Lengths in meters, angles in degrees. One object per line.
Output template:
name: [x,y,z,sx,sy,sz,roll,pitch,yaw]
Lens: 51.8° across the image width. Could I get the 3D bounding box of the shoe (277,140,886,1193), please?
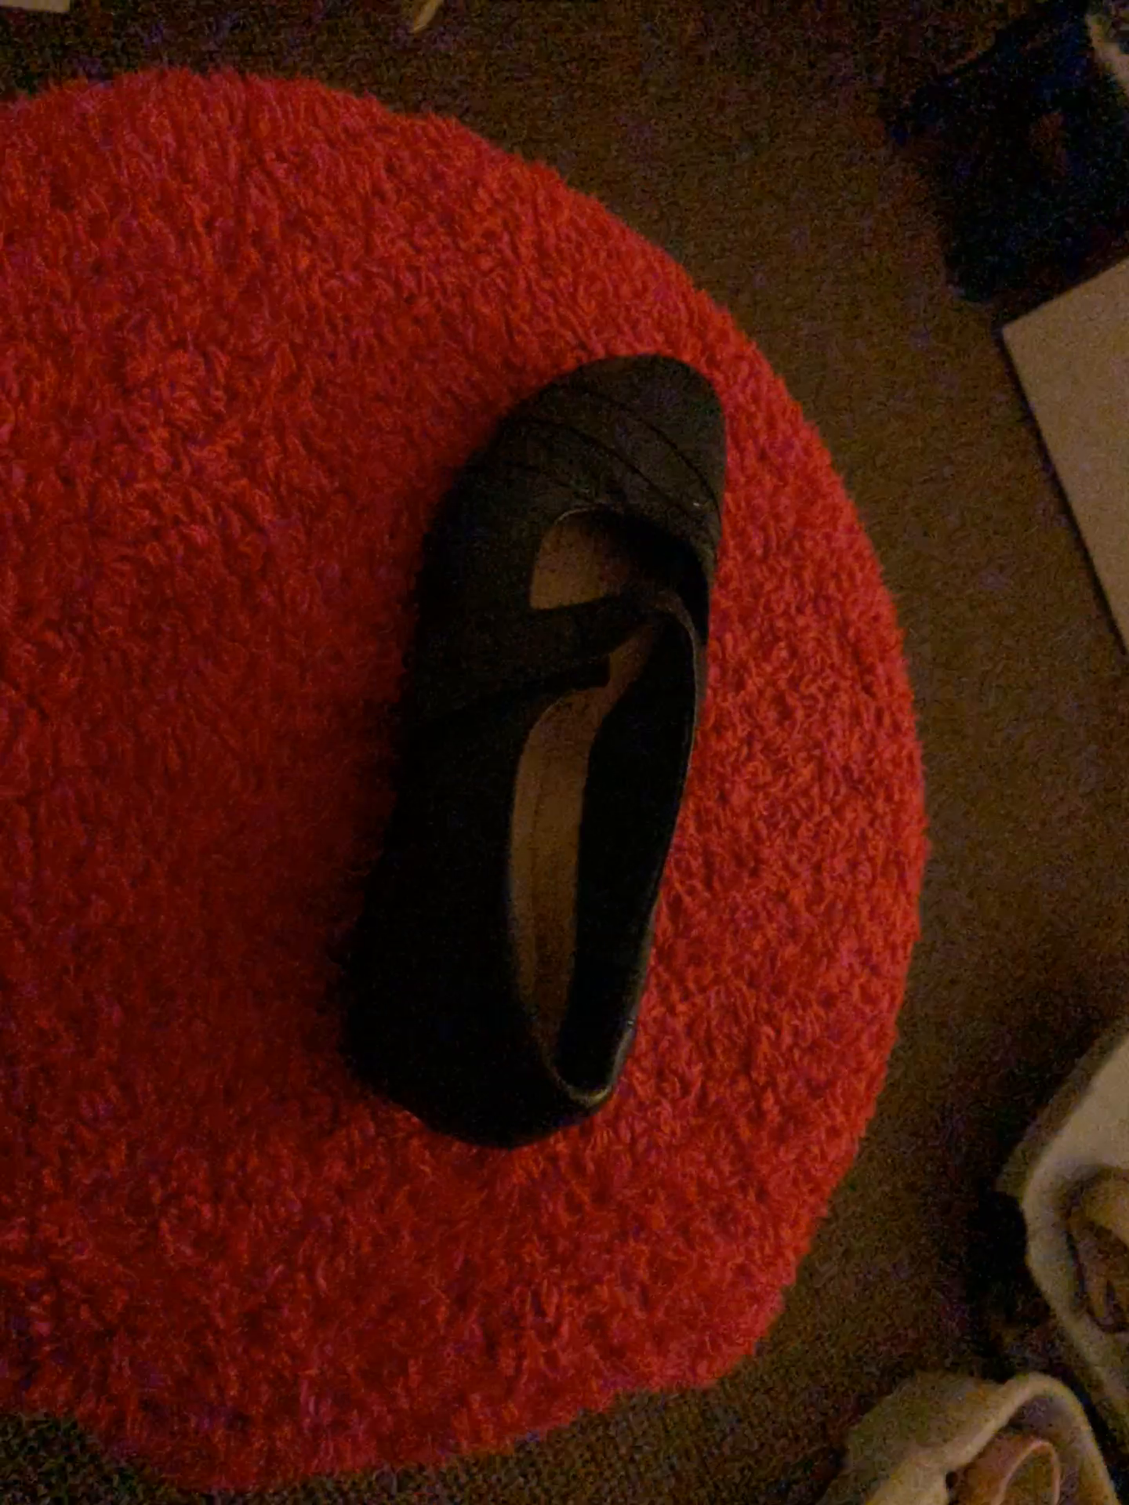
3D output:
shoe: [0.015,-0.028,0.342,0.093,0.080,0.276,25,66,-27]
